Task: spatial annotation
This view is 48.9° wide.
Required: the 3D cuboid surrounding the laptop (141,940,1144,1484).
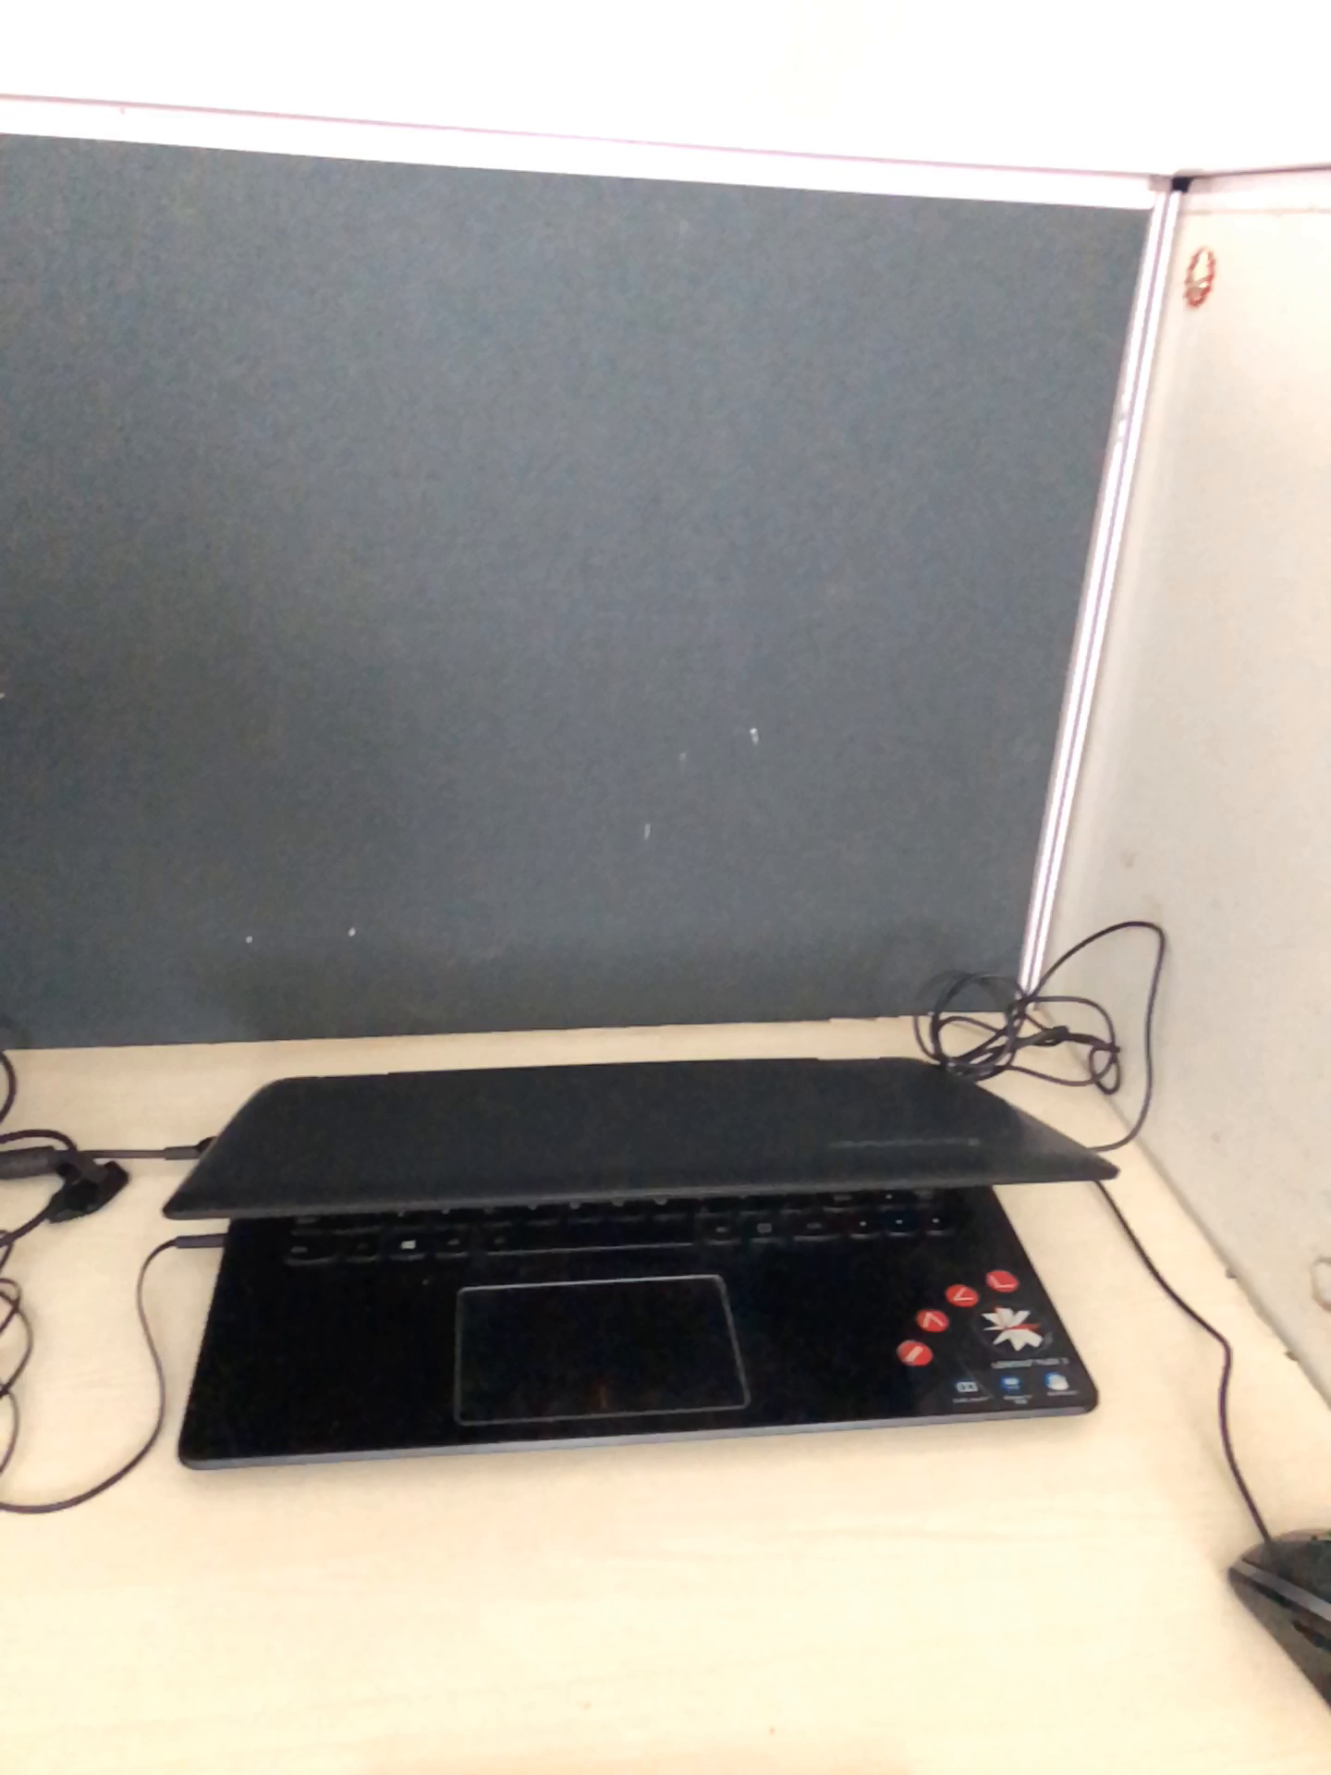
[{"bbox_3d":[-0.015,0.111,0.589,0.326,0.083,0.220,-1,25,-7],"label":"laptop"}]
